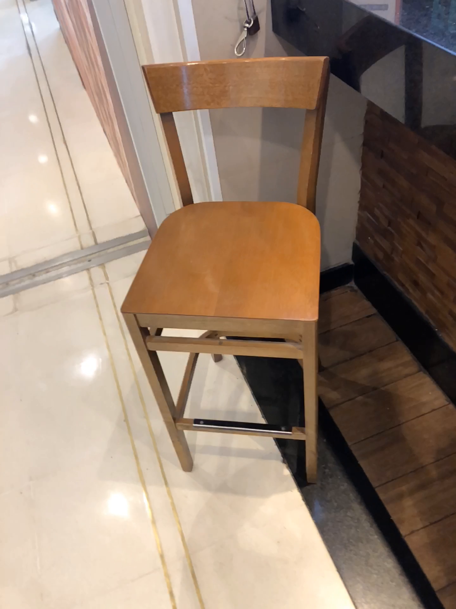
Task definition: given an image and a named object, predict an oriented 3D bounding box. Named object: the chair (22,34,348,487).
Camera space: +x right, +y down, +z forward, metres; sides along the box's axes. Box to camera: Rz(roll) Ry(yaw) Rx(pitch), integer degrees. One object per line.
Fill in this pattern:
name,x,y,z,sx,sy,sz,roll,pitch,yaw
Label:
chair,0.017,-0.026,1.252,0.480,0.994,0.533,1,48,10
